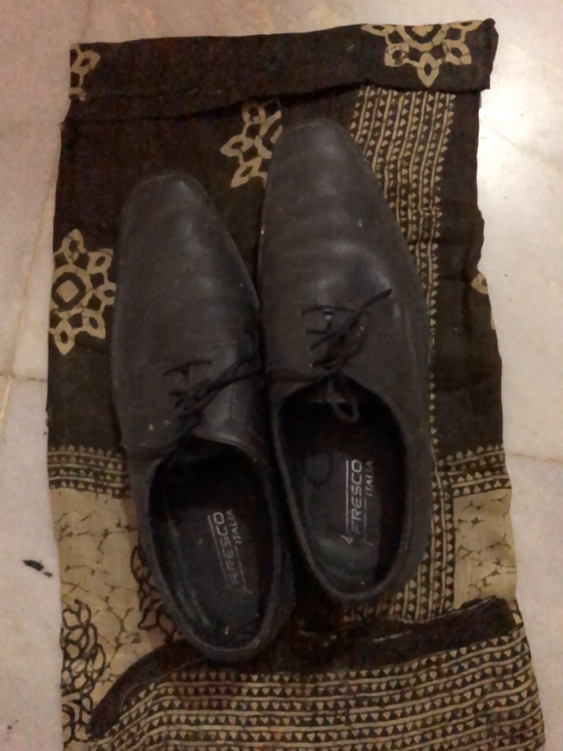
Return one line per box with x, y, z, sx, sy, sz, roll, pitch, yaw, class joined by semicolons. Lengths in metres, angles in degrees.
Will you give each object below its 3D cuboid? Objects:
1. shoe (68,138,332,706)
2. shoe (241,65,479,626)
-0.054;0.024;0.426;0.110;0.070;0.340;-11;83;4;shoe
0.046;-0.022;0.419;0.110;0.070;0.340;-6;83;4;shoe
